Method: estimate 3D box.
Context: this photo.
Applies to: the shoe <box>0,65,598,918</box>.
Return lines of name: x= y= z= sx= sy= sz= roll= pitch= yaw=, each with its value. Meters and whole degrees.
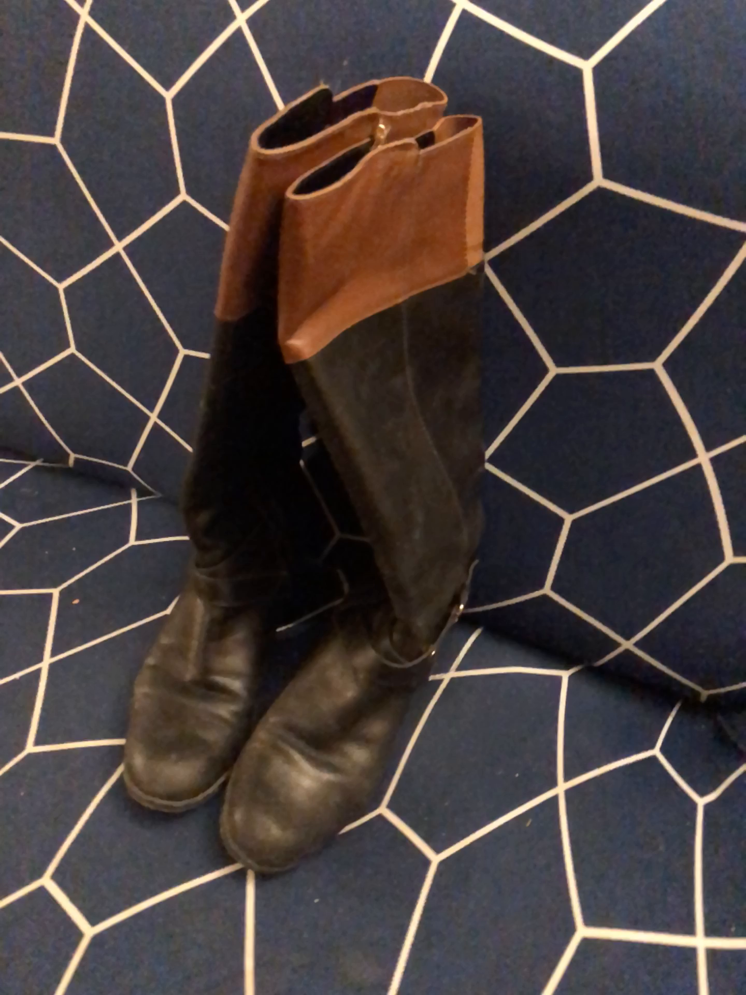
shoe: x=-0.015 y=0.018 z=0.434 sx=0.100 sy=0.378 sz=0.251 roll=25 pitch=50 yaw=22

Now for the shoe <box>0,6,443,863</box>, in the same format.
shoe: x=-0.082 y=-0.014 z=0.491 sx=0.110 sy=0.427 sz=0.271 roll=19 pitch=46 yaw=14
